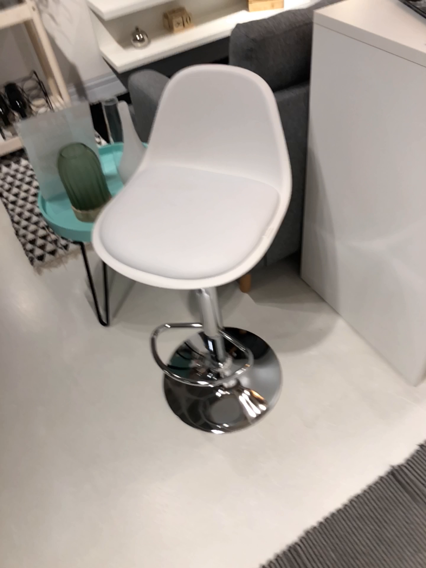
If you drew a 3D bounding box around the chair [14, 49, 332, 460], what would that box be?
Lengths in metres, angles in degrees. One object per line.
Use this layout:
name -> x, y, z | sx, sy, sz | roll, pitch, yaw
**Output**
chair -> -0.010, -0.017, 1.158 | 0.410, 0.885, 0.422 | 19, 53, 24
